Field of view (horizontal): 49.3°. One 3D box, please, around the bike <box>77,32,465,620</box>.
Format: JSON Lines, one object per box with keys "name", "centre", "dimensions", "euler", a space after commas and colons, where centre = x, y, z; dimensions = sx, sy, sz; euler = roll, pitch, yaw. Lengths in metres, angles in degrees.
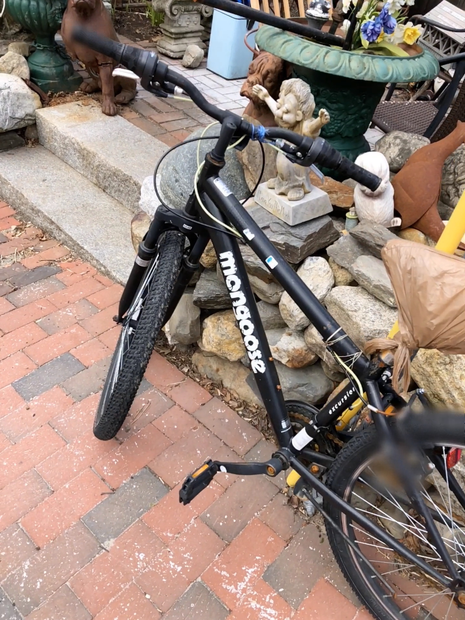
{"name": "bike", "centre": [0.275, 0.082, 1.106], "dimensions": [0.635, 0.873, 1.412], "euler": [-25, 51, -35]}
